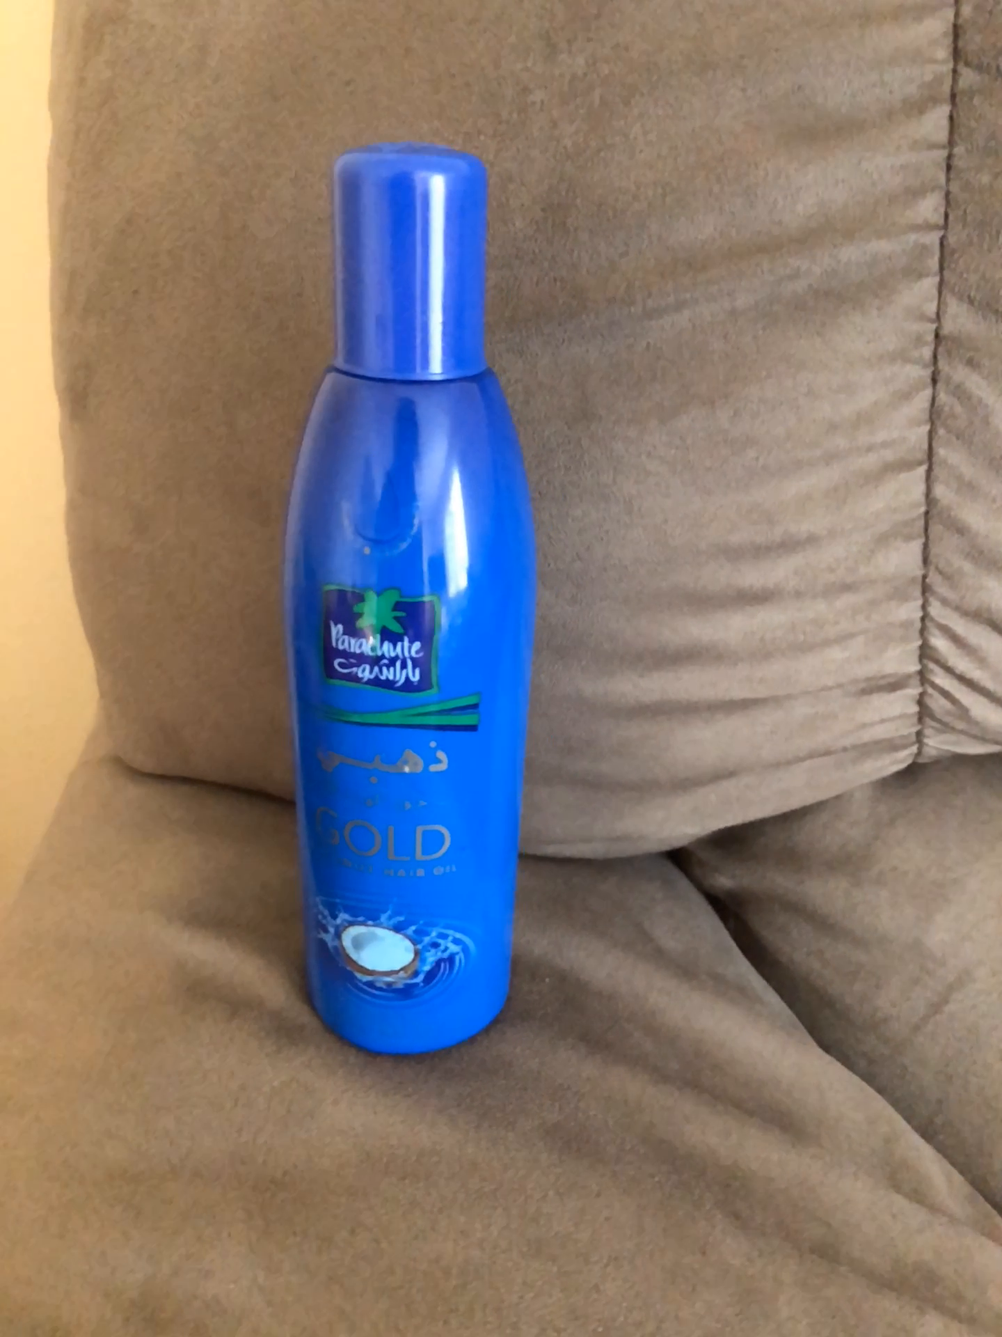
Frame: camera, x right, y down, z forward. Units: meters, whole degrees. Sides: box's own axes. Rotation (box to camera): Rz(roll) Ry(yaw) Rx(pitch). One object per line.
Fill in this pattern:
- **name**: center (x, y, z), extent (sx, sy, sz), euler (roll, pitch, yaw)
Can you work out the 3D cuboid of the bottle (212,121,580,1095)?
- **bottle**: center (-0.018, -0.006, 0.220), extent (0.050, 0.180, 0.050), euler (2, 25, -1)
